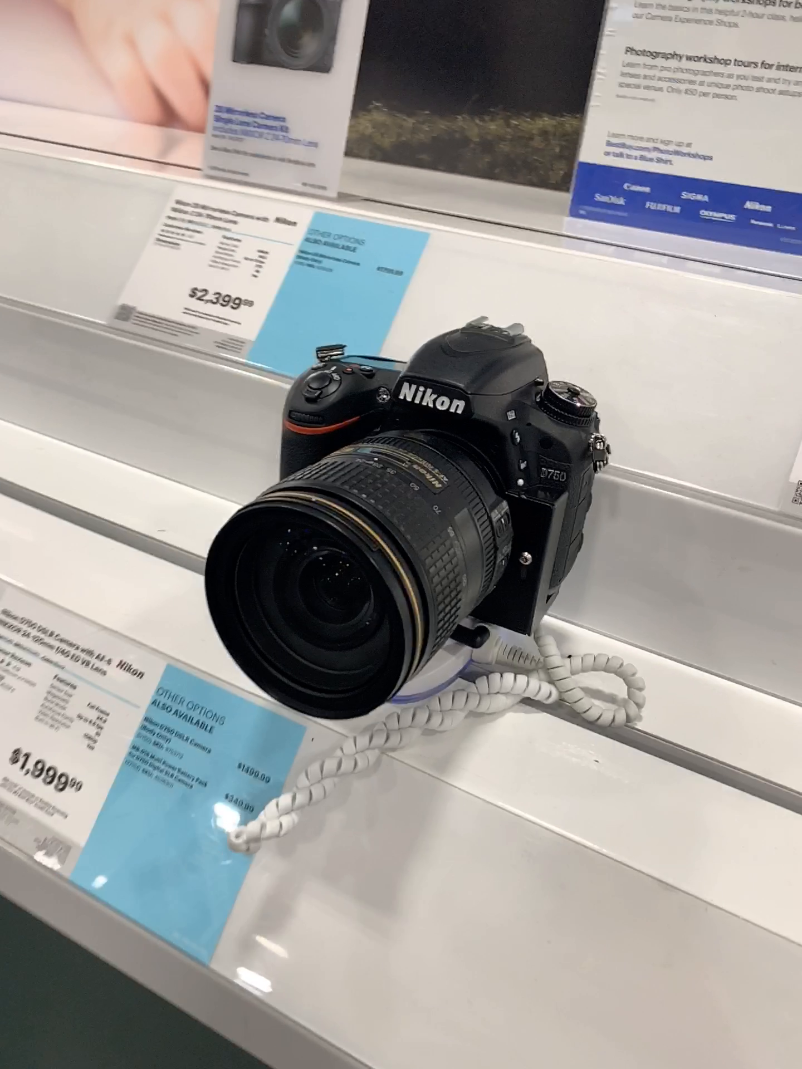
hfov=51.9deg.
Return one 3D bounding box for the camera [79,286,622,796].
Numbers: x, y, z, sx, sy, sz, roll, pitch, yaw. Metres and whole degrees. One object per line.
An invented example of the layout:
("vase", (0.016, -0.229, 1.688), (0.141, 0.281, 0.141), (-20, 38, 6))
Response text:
("camera", (-0.007, -0.019, 0.338), (0.140, 0.111, 0.181), (16, 30, 18))
